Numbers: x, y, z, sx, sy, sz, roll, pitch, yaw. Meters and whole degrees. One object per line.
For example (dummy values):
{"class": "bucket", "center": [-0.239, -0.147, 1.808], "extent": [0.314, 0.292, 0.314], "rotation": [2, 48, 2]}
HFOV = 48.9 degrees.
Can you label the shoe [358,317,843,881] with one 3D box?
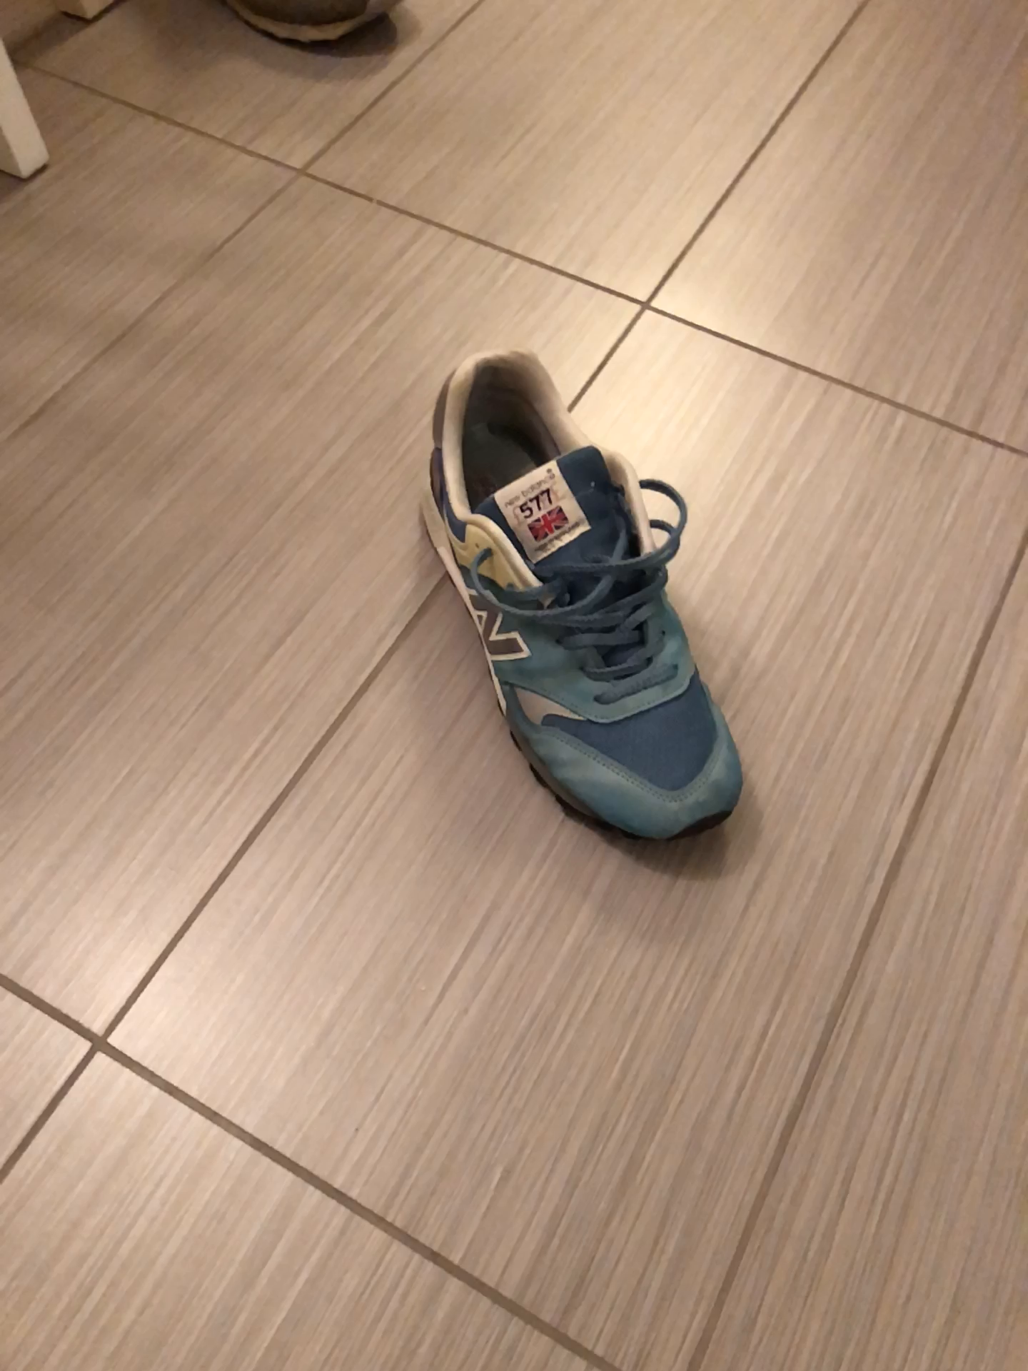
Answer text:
{"class": "shoe", "center": [0.032, -0.061, 0.616], "extent": [0.130, 0.070, 0.301], "rotation": [-21, 61, -13]}
